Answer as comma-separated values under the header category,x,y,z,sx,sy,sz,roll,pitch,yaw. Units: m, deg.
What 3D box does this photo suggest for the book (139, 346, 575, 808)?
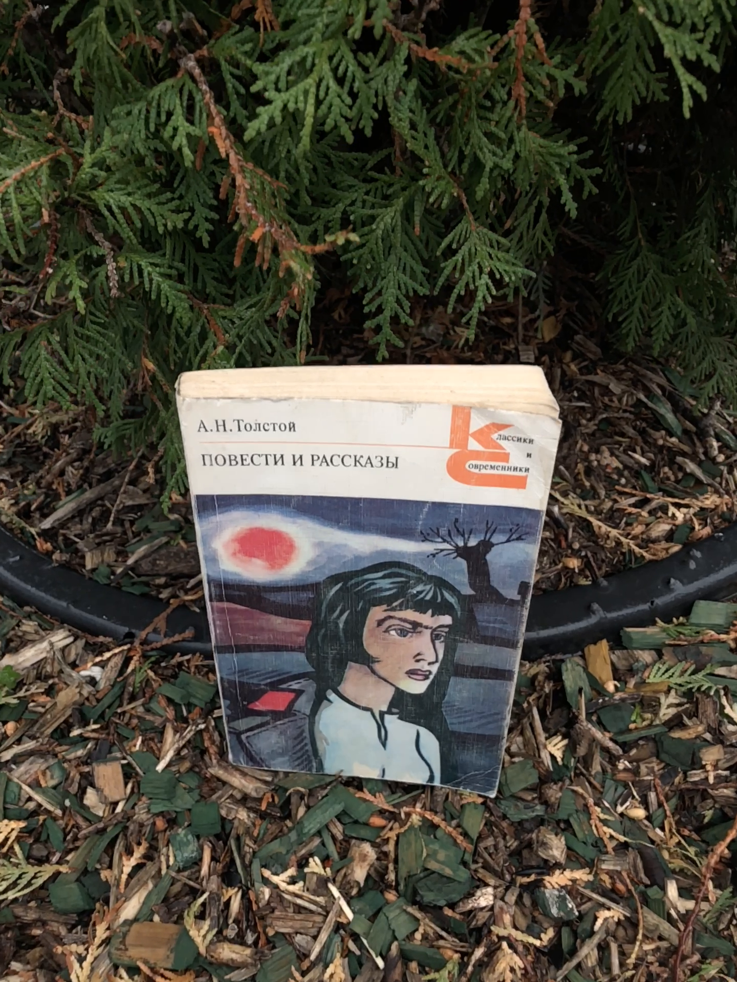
category,x,y,z,sx,sy,sz,roll,pitch,yaw
book,0.000,0.044,0.317,0.130,0.196,0.041,3,38,7
